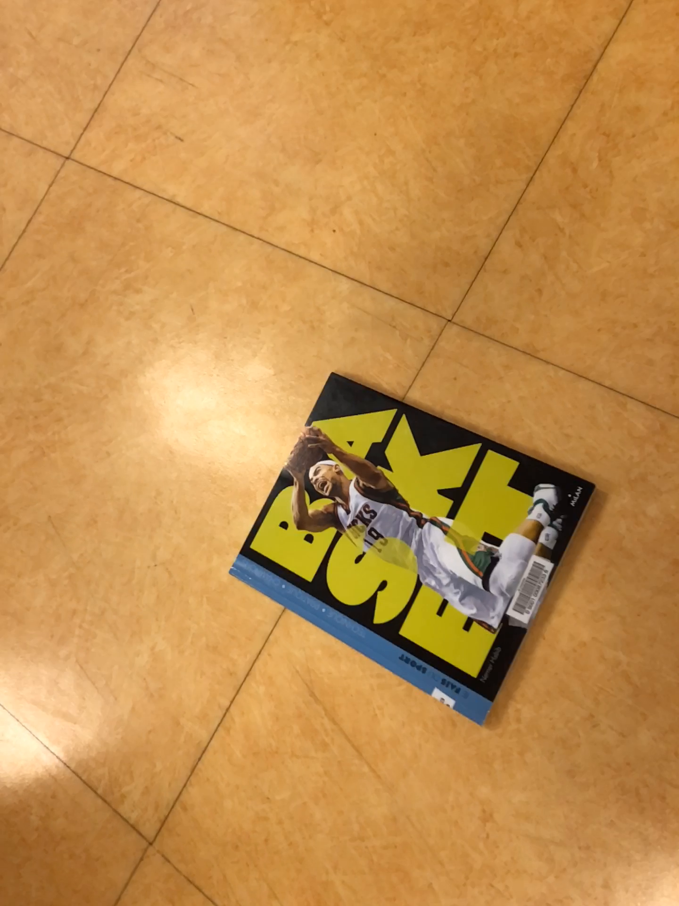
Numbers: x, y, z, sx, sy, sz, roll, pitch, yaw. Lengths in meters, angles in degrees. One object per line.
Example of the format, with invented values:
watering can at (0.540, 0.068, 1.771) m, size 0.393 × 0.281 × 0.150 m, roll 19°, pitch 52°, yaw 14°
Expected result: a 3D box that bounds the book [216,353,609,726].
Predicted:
book at (0.048, 0.054, 0.578) m, size 0.244 × 0.020 × 0.200 m, roll 25°, pitch 85°, yaw 24°
